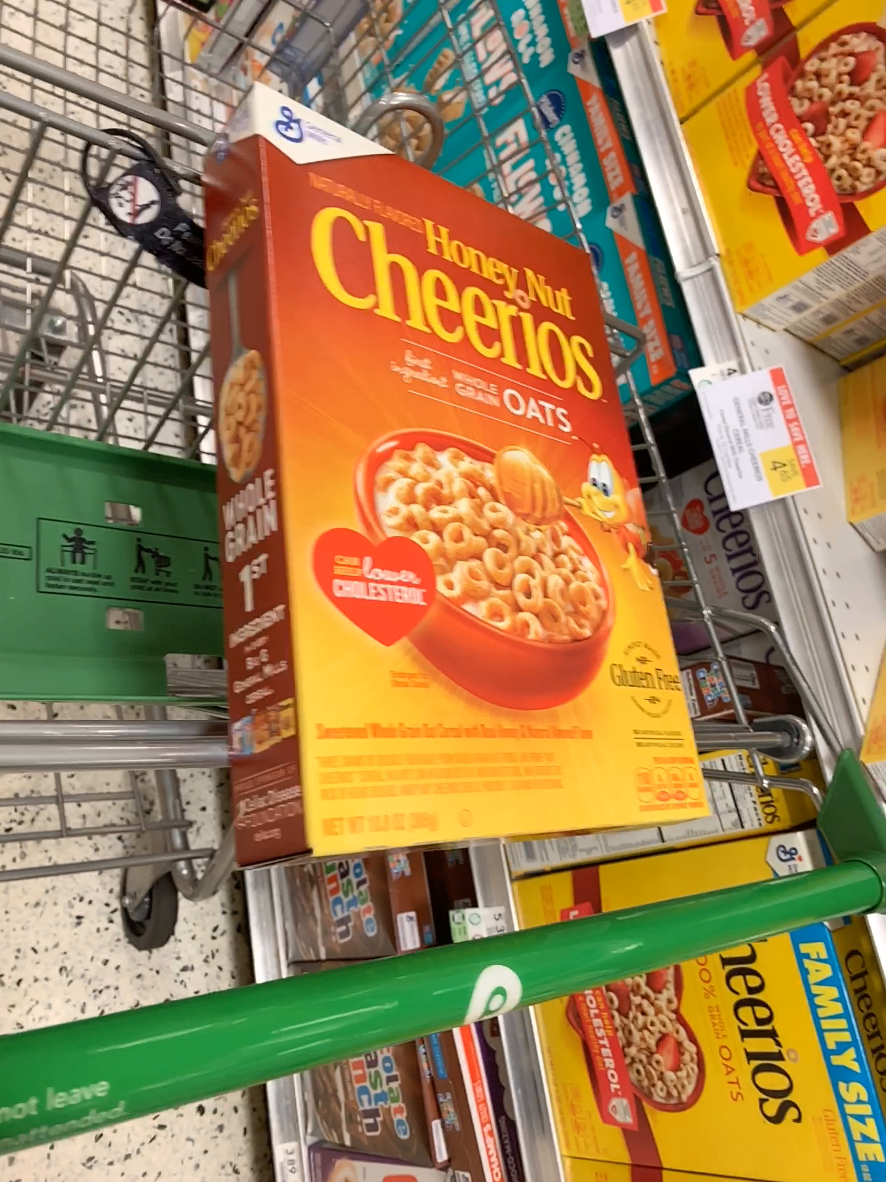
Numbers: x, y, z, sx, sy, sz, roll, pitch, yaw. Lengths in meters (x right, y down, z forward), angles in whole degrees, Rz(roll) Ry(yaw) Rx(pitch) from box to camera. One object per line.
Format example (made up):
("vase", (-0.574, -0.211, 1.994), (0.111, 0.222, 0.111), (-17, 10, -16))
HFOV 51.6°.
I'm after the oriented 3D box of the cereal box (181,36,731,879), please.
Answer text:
("cereal box", (0.005, -0.046, 0.376), (0.201, 0.059, 0.291), (8, 67, -40))
